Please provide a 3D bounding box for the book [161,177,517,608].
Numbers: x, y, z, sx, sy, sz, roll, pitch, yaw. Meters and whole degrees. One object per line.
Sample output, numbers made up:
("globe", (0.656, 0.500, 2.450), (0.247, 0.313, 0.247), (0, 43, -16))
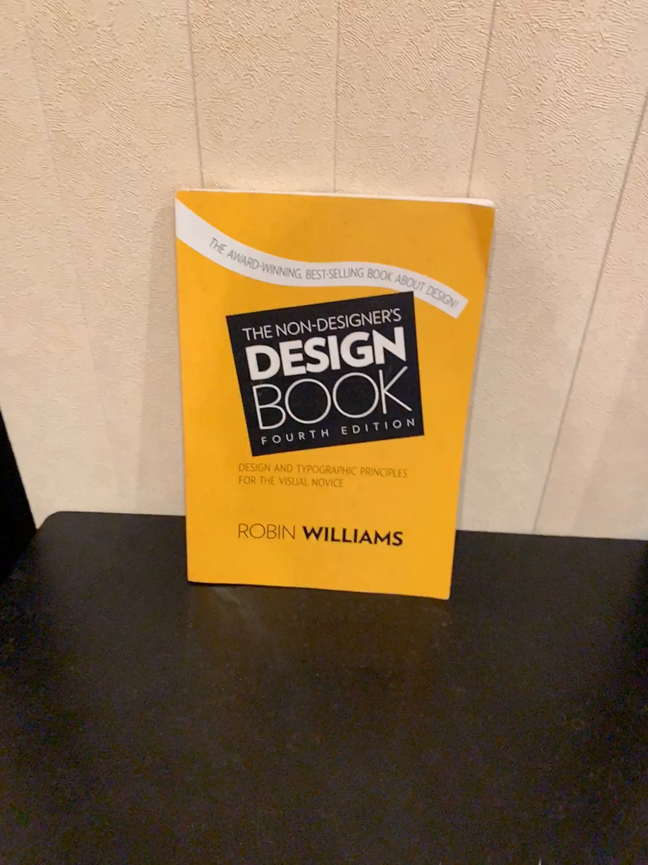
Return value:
("book", (0.003, -0.017, 0.416), (0.190, 0.259, 0.030), (3, 21, 4))
